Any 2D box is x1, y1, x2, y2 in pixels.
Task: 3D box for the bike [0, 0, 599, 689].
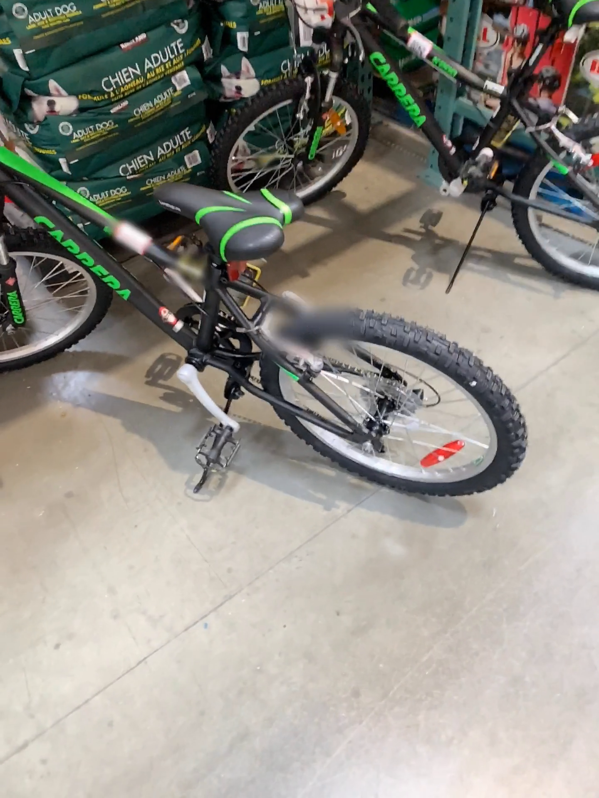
[{"bbox_3d":[-0.257,-0.135,1.028,1.305,0.855,0.711,10,51,10],"label":"bike"}]
